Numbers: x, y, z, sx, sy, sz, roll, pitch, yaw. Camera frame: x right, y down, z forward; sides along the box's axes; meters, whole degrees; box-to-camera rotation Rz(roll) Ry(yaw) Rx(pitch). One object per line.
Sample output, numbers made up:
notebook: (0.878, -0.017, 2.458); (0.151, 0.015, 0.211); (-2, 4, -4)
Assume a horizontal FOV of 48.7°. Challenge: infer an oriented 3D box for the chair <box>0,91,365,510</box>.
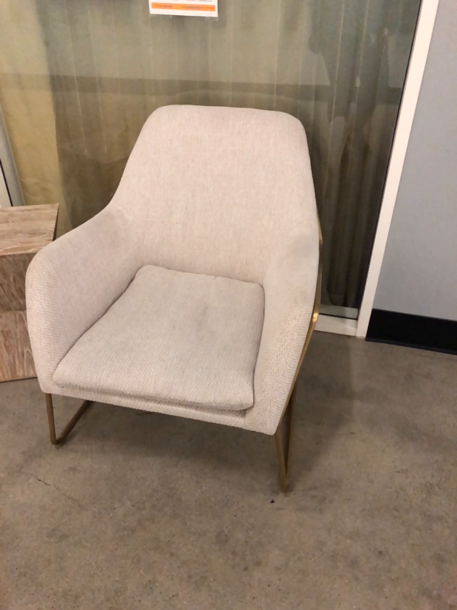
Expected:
chair: (-0.082, -0.099, 1.548); (0.830, 0.816, 0.894); (8, 36, 11)
